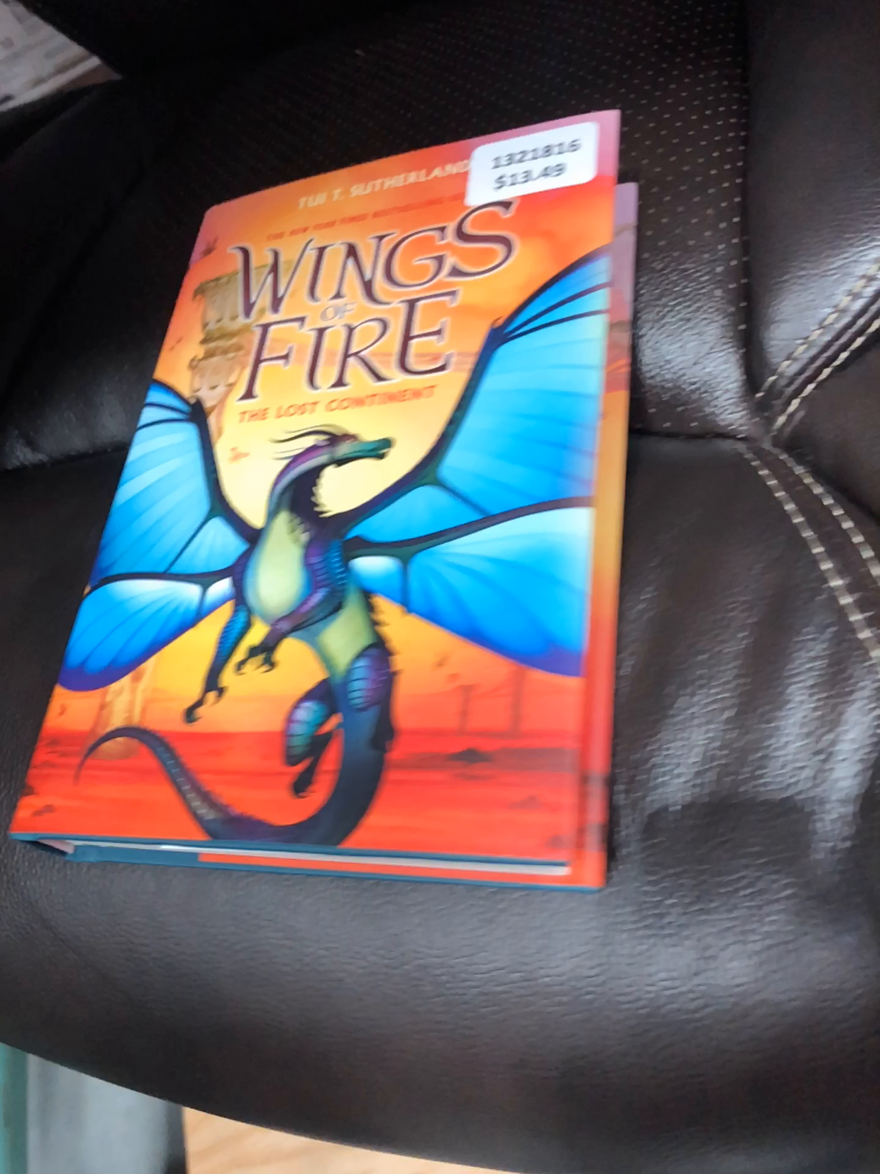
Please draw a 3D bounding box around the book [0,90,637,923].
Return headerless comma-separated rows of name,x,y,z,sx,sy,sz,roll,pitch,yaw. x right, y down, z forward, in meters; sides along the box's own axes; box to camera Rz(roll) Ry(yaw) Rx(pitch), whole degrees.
book,-0.027,-0.030,0.268,0.148,0.030,0.218,-4,62,23
